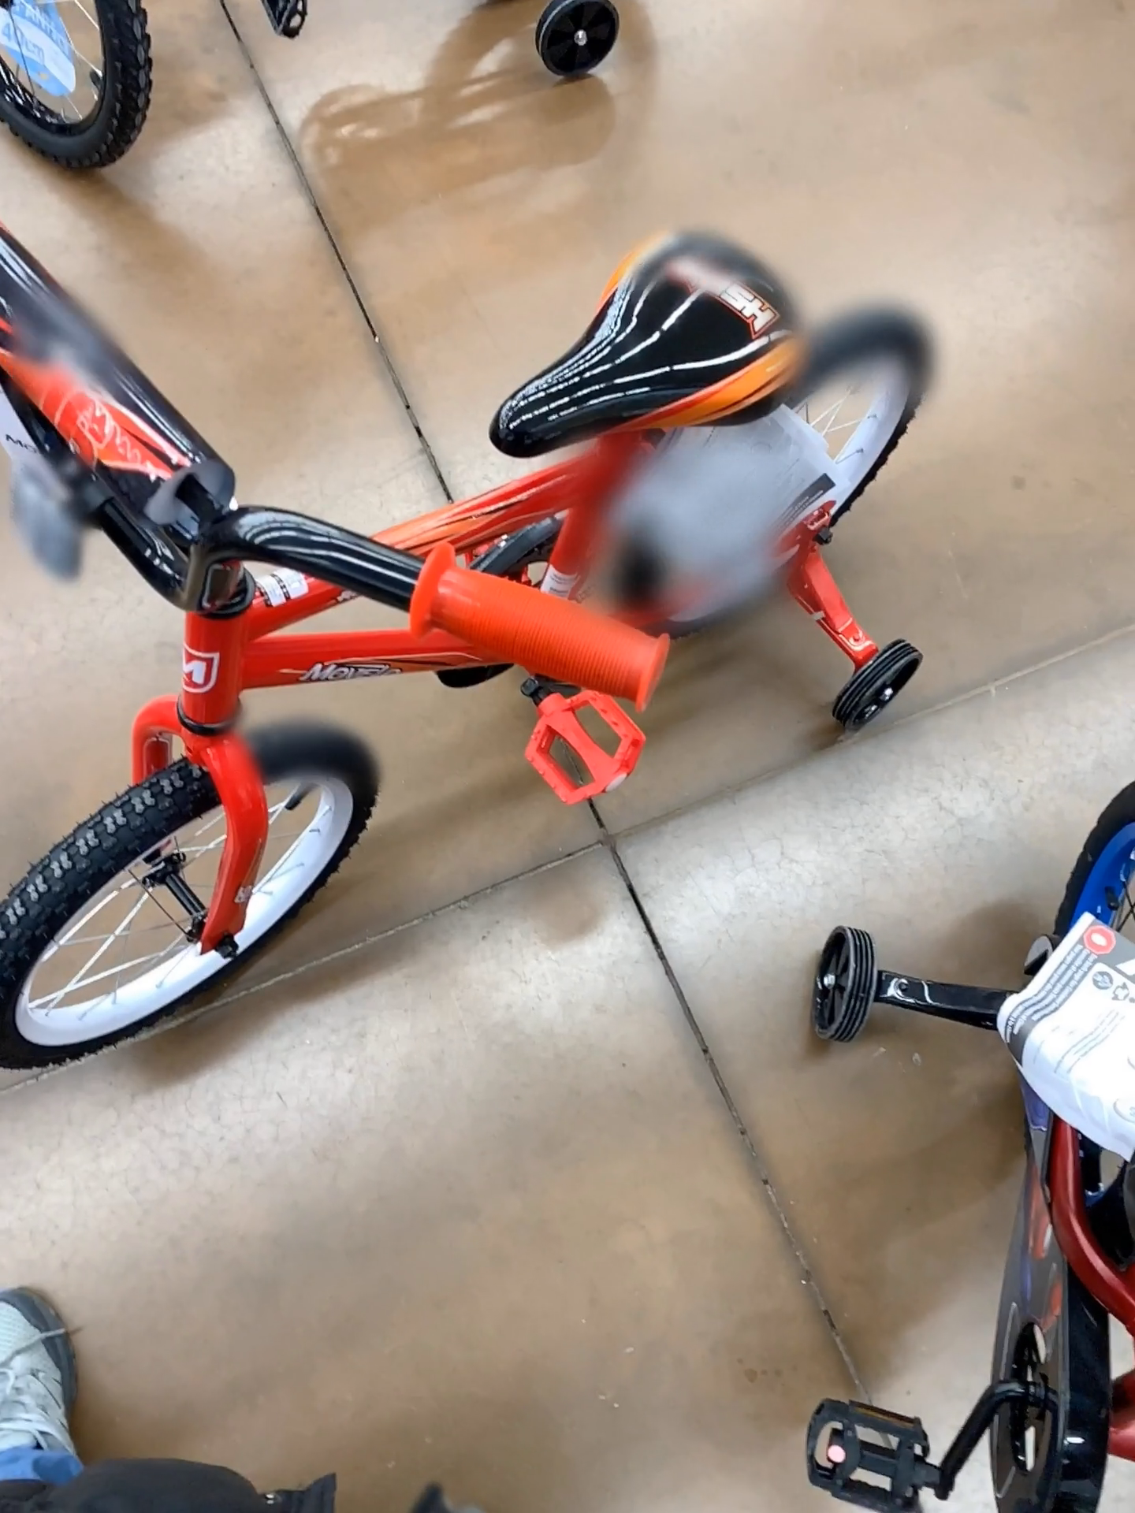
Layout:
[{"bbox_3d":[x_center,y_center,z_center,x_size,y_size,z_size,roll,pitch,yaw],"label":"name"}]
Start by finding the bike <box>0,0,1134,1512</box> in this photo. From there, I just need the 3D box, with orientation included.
[{"bbox_3d":[-0.003,-0.136,0.903,1.140,0.957,0.516,-37,73,-18],"label":"bike"}]
